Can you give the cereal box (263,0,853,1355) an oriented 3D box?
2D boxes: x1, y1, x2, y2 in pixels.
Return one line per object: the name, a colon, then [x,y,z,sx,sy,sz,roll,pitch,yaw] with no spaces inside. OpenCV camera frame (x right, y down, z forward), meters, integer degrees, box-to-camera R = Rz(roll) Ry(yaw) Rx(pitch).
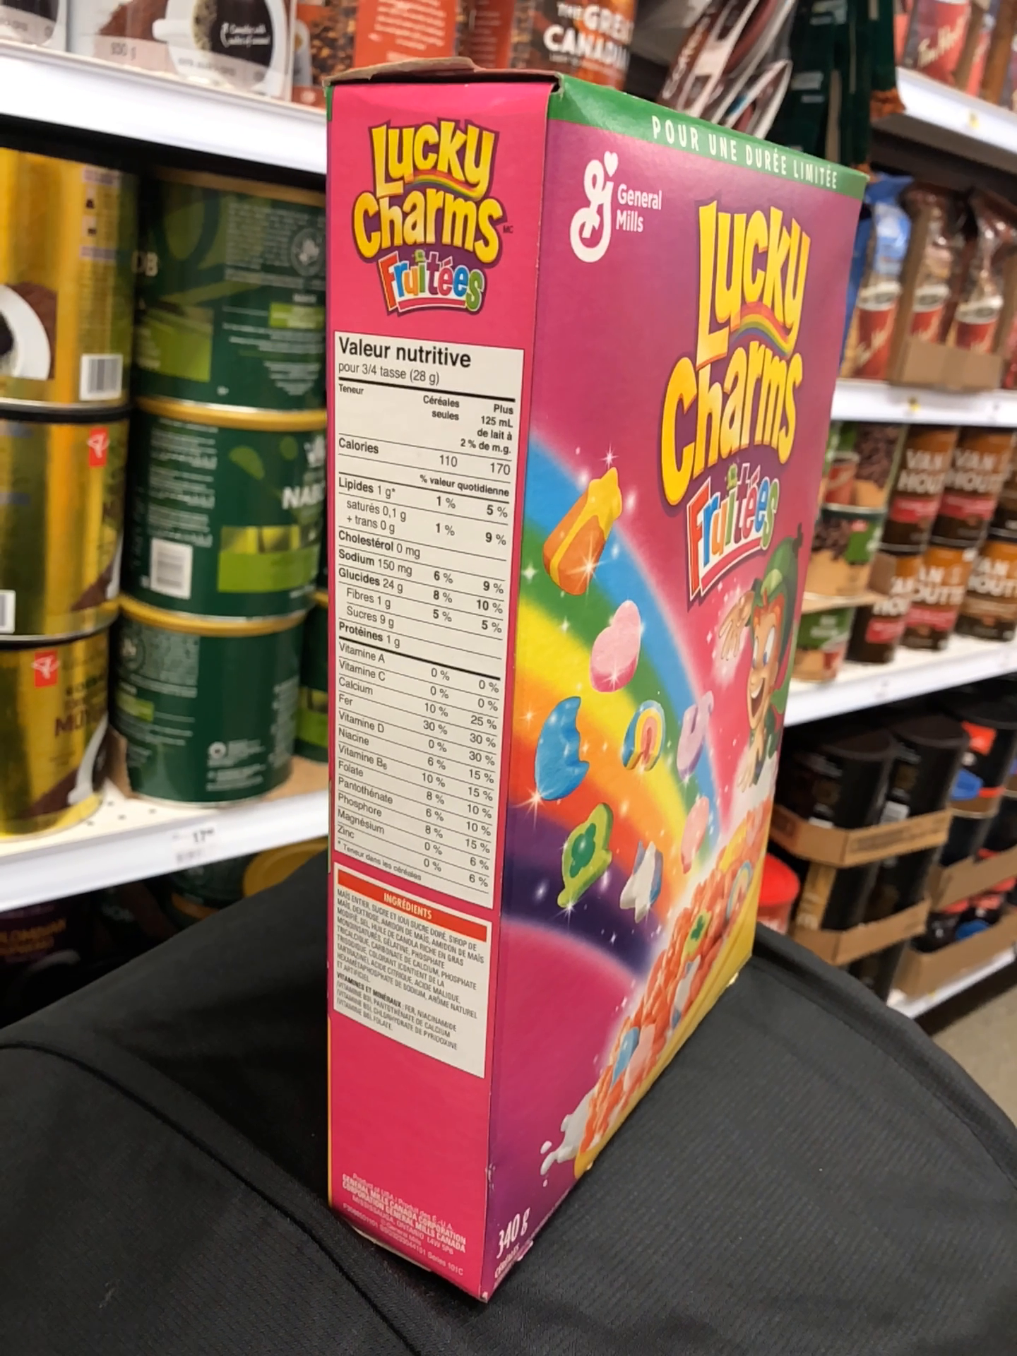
cereal box: [0.020,-0.002,0.330,0.060,0.299,0.201,14,21,26]
